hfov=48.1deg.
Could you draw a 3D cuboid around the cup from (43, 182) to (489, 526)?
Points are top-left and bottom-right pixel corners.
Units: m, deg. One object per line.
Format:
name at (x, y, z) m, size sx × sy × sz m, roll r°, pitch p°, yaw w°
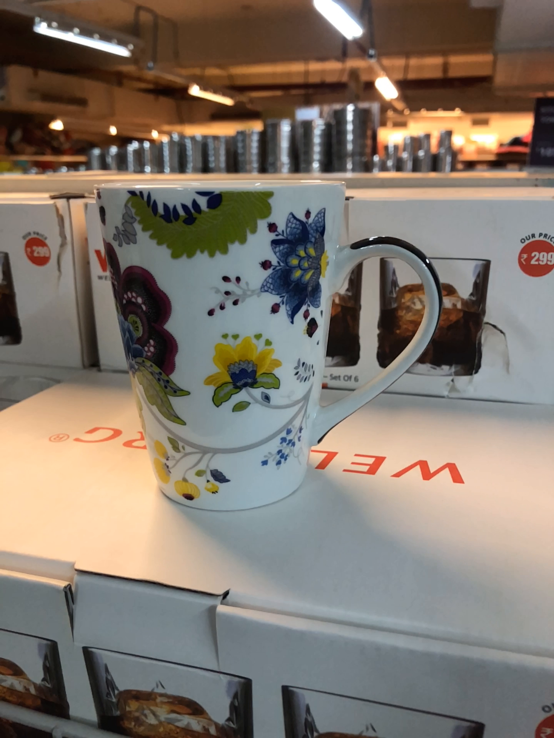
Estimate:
cup at (-0.001, -0.013, 0.218) m, size 0.120 × 0.100 × 0.080 m, roll 1°, pitch 17°, yaw 5°
